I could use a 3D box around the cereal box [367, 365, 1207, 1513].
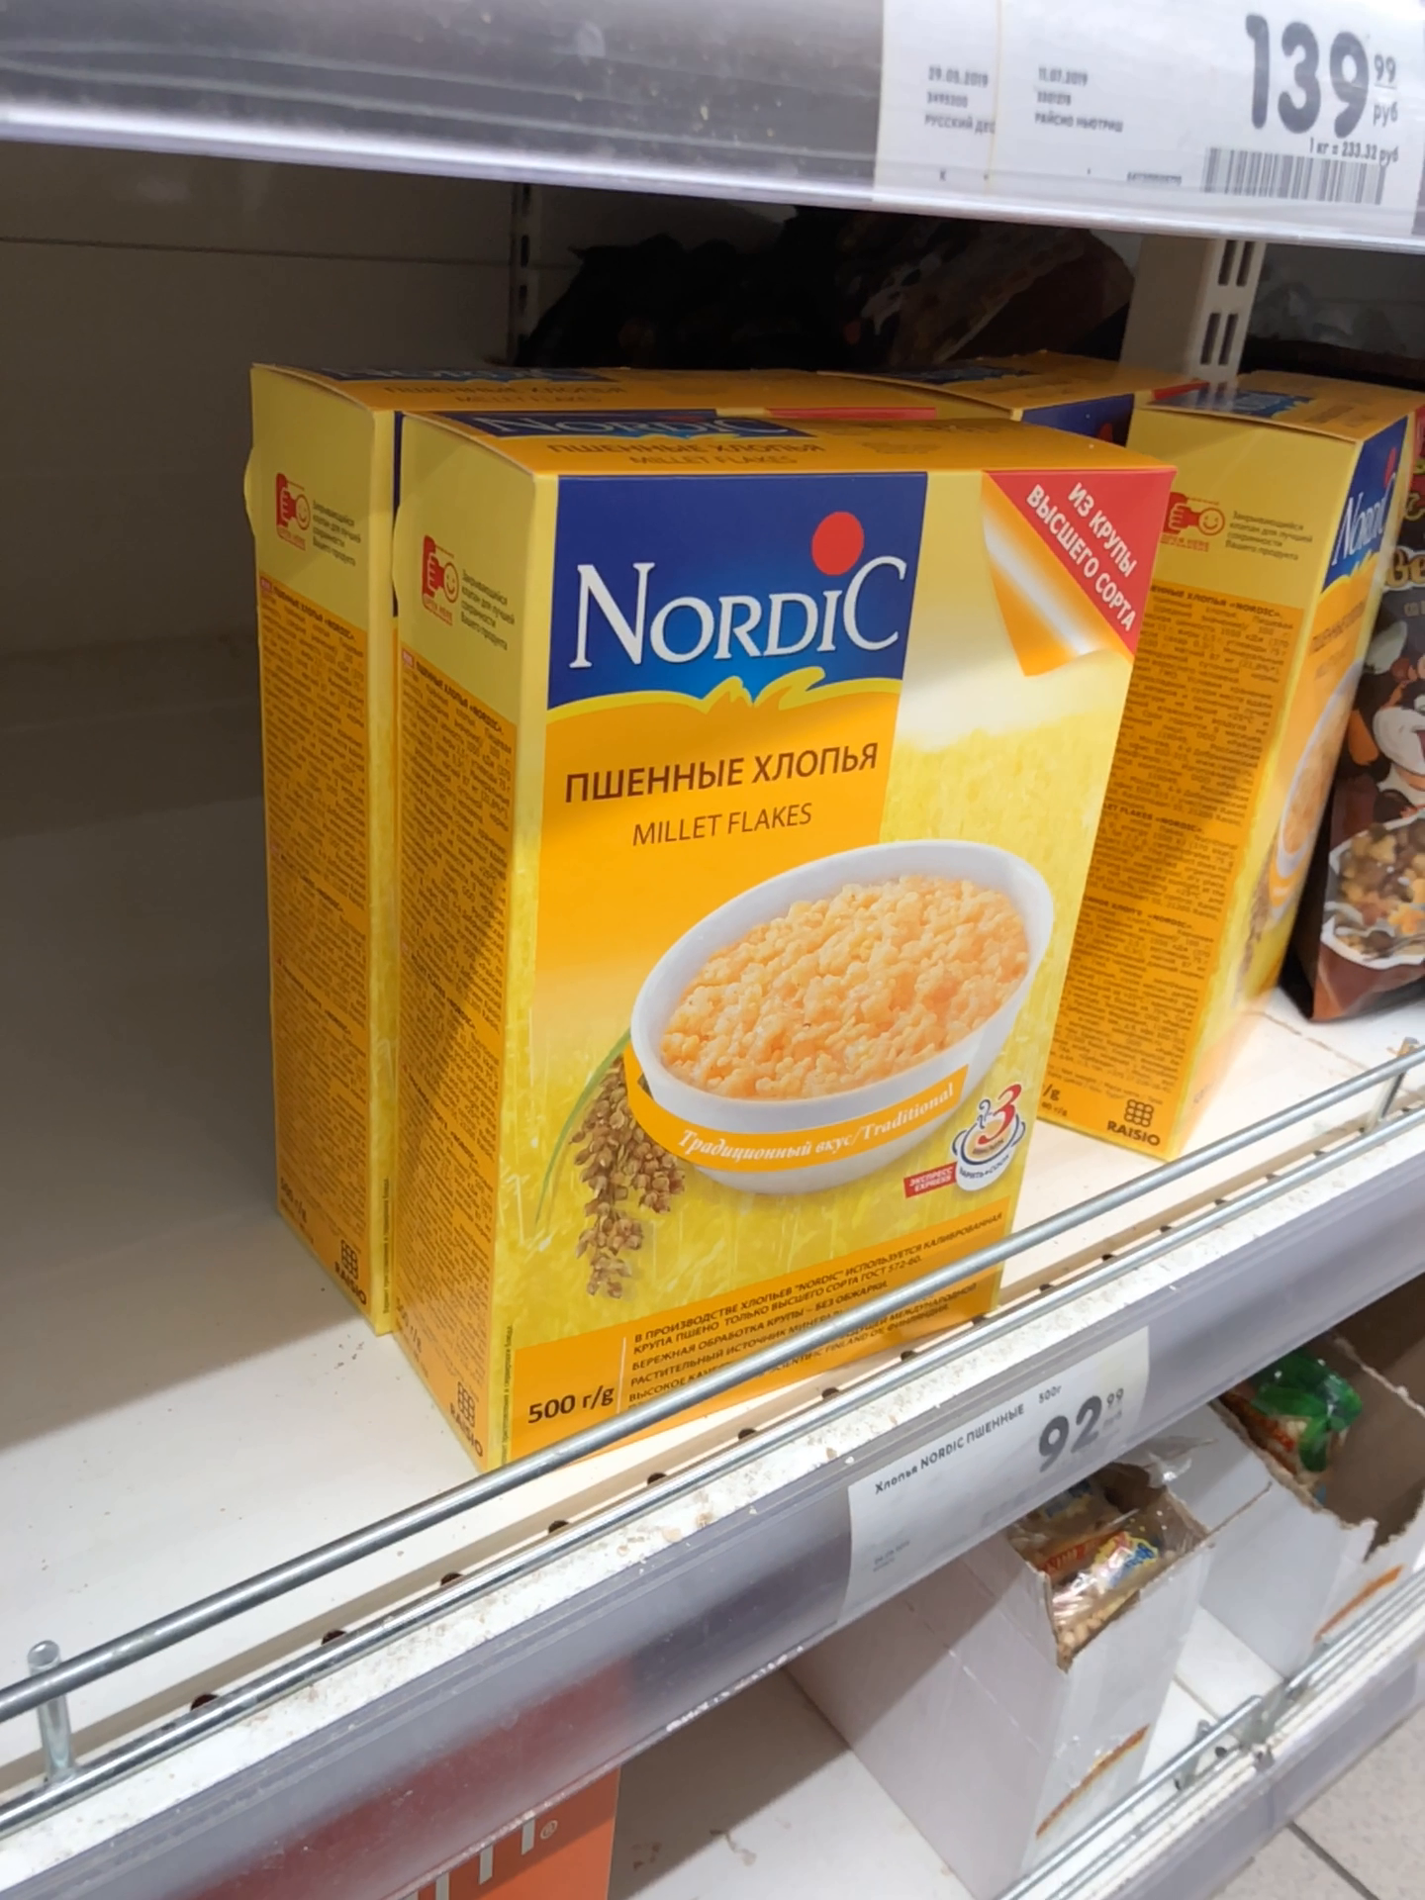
[{"bbox_3d":[0.007,-0.005,0.327,0.140,0.209,0.060,-10,30,-29],"label":"cereal box"}]
